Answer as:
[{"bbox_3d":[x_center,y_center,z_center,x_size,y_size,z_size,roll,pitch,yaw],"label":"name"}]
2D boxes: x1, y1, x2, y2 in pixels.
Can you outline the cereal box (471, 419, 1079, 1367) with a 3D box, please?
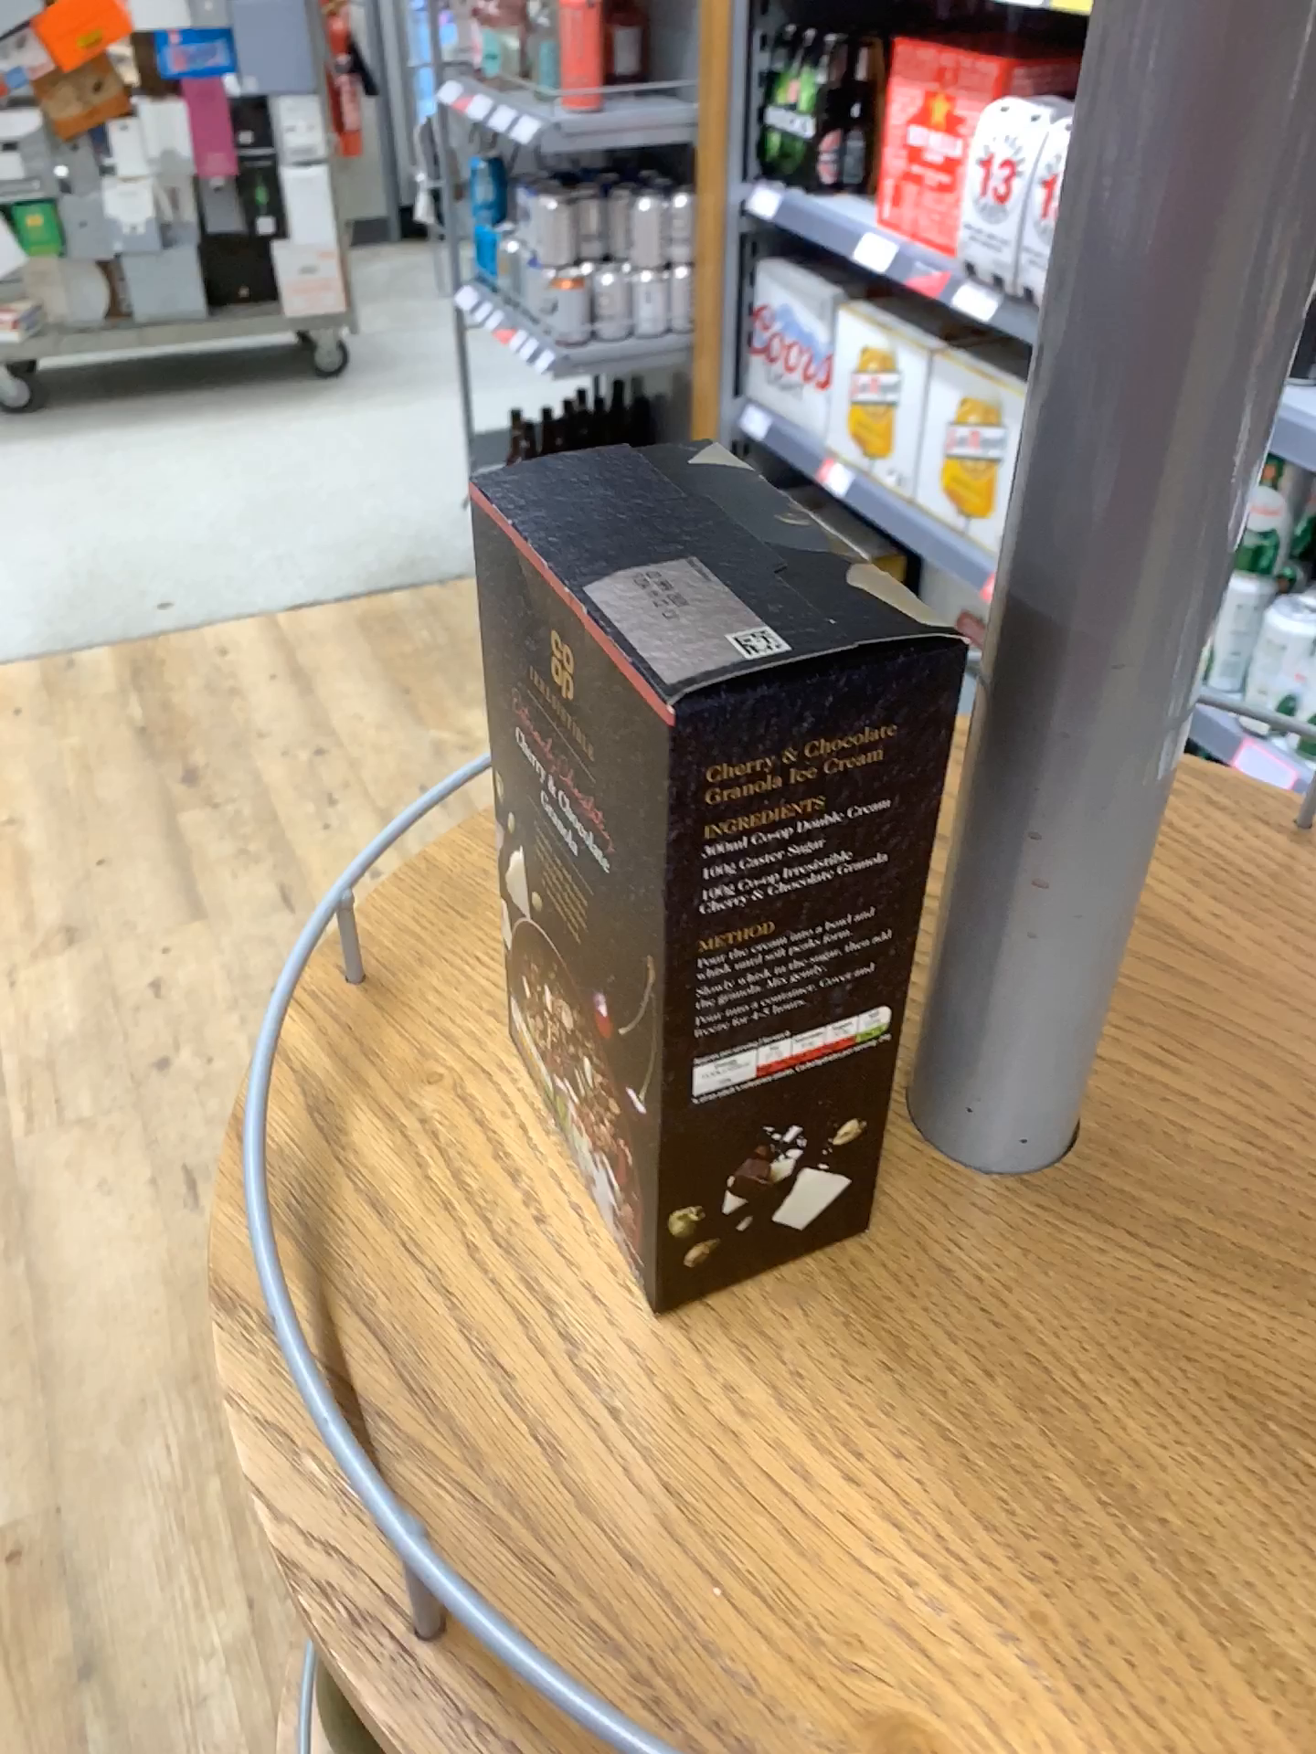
[{"bbox_3d":[0.020,0.005,0.392,0.090,0.218,0.141,-15,41,-19],"label":"cereal box"}]
